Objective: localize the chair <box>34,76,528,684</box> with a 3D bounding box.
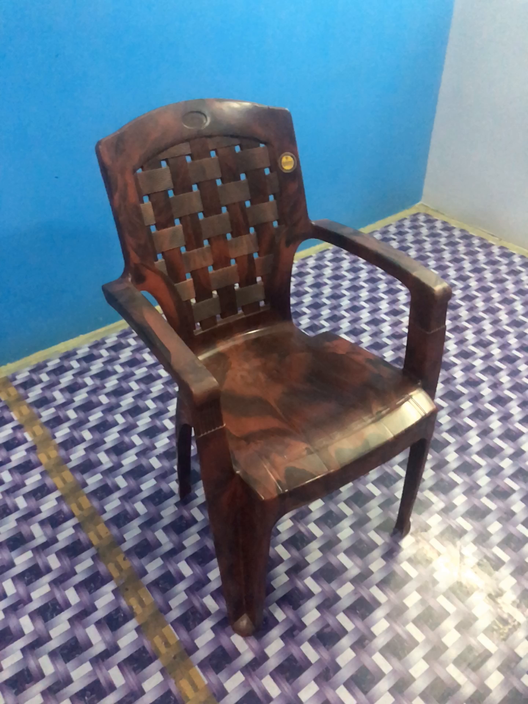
[{"bbox_3d":[0.036,0.016,1.122,0.592,0.845,0.591,-22,43,-27],"label":"chair"}]
